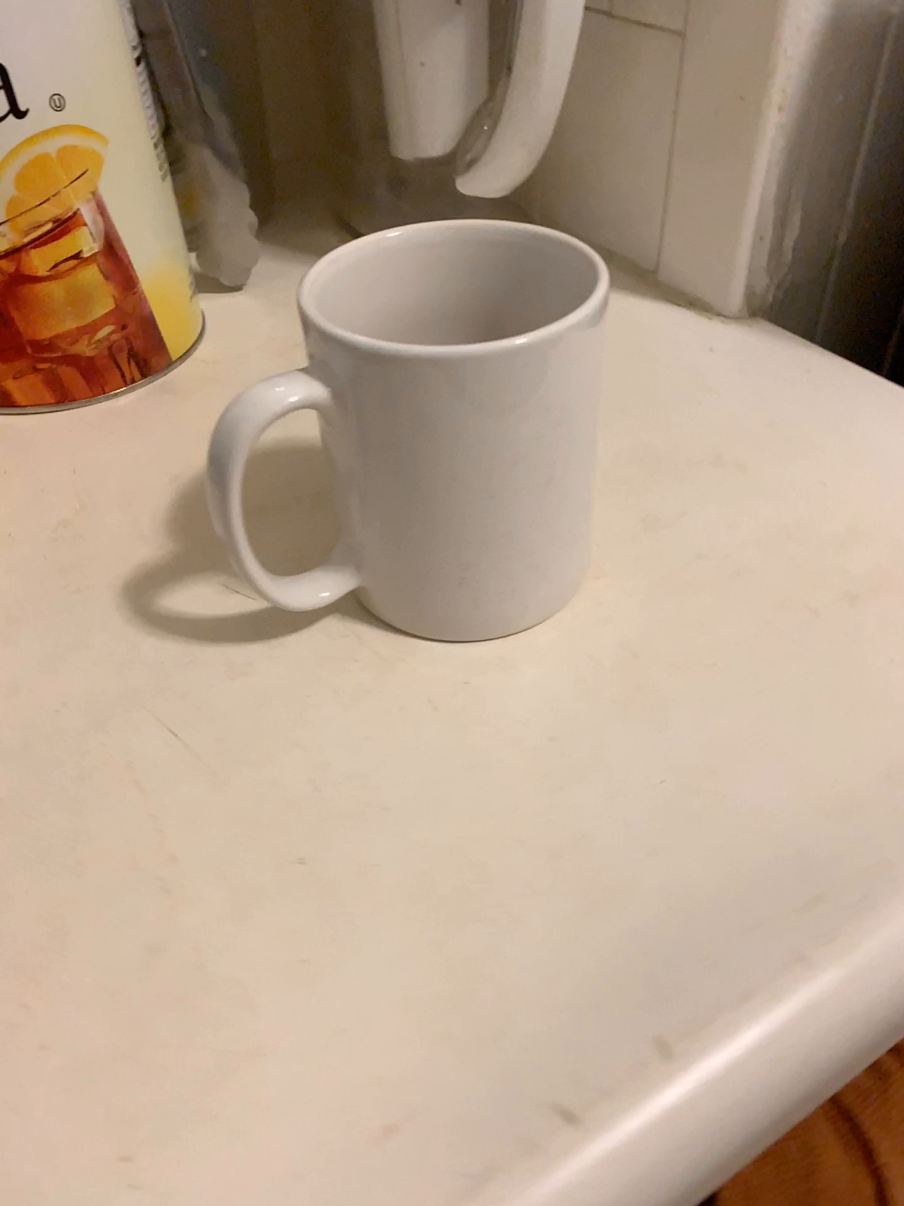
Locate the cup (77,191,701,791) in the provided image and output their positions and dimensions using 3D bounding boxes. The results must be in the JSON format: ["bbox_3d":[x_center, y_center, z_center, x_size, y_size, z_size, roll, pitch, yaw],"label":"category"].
[{"bbox_3d":[-0.013,-0.041,0.284,0.140,0.109,0.090,-29,48,-27],"label":"cup"}]
